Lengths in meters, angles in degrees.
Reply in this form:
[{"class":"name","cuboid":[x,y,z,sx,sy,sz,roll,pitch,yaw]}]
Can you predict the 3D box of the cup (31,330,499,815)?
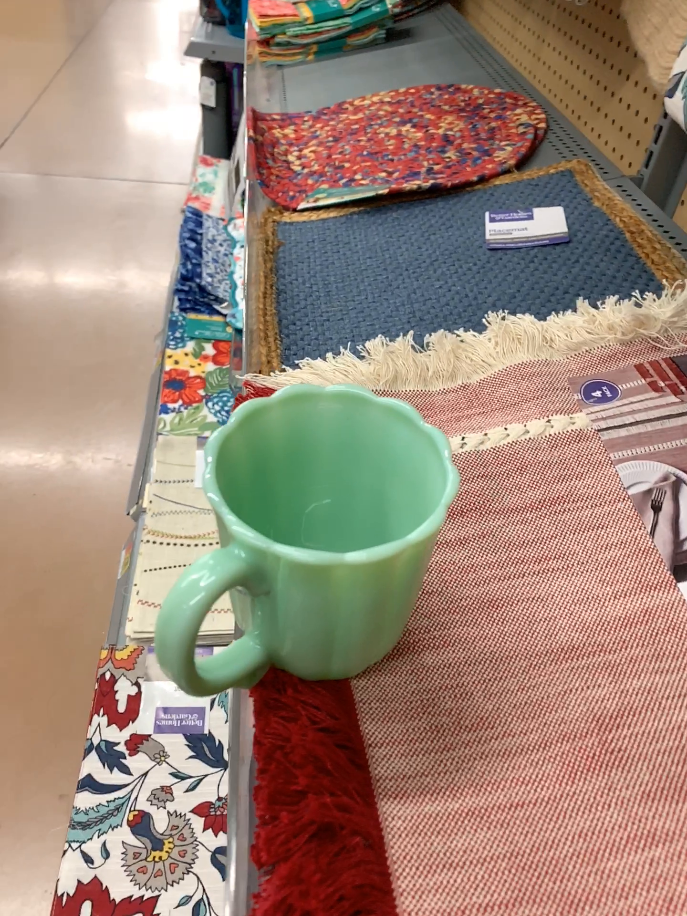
[{"class":"cup","cuboid":[-0.023,0.032,0.263,0.090,0.090,0.130,31,46,24]}]
